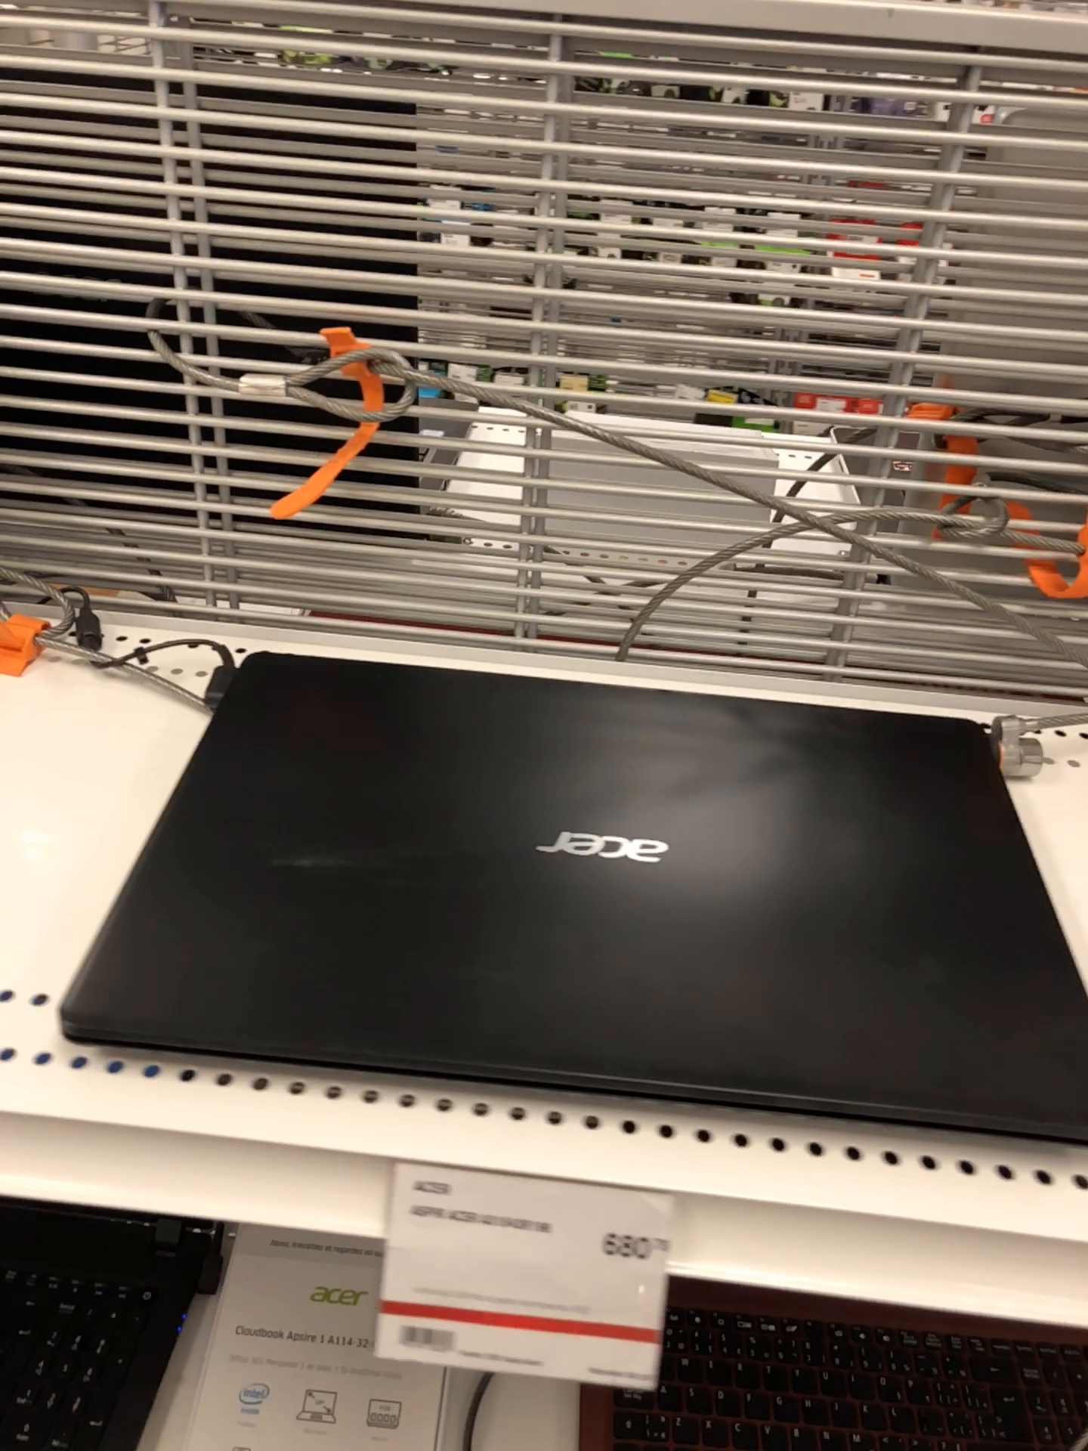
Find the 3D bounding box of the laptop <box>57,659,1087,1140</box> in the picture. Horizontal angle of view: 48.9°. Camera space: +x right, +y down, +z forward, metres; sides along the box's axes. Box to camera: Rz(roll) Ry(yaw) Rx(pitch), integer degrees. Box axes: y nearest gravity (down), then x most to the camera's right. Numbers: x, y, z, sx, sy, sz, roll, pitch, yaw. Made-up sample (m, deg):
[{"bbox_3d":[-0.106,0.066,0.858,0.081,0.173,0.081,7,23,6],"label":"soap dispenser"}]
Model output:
[{"bbox_3d":[0.023,0.052,0.493,0.354,0.006,0.232,6,35,1],"label":"laptop"}]
